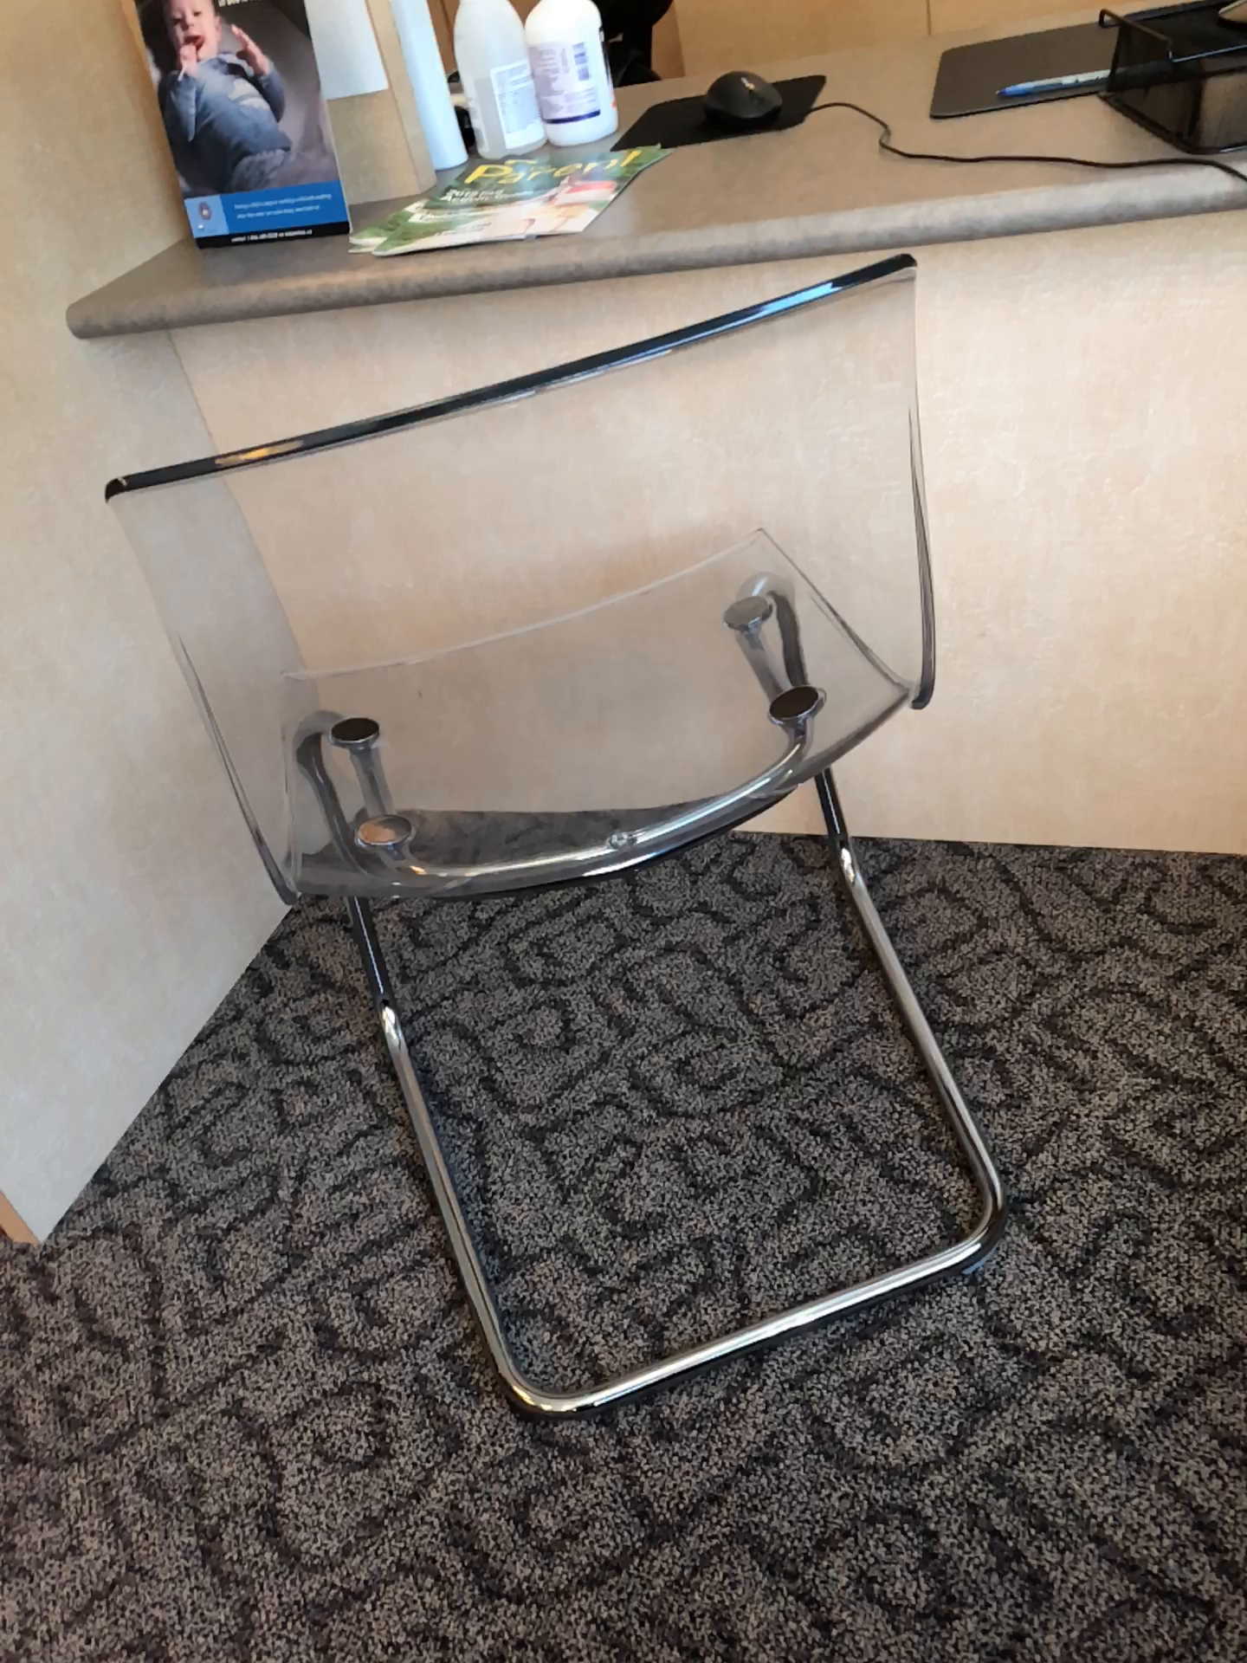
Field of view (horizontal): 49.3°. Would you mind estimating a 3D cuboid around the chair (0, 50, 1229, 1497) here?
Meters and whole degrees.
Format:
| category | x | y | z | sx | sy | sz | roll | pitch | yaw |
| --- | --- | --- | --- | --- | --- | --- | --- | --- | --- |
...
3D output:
| category | x | y | z | sx | sy | sz | roll | pitch | yaw |
| --- | --- | --- | --- | --- | --- | --- | --- | --- | --- |
| chair | -0.009 | -0.075 | 1.091 | 0.600 | 0.804 | 0.645 | -18 | 36 | -6 |
